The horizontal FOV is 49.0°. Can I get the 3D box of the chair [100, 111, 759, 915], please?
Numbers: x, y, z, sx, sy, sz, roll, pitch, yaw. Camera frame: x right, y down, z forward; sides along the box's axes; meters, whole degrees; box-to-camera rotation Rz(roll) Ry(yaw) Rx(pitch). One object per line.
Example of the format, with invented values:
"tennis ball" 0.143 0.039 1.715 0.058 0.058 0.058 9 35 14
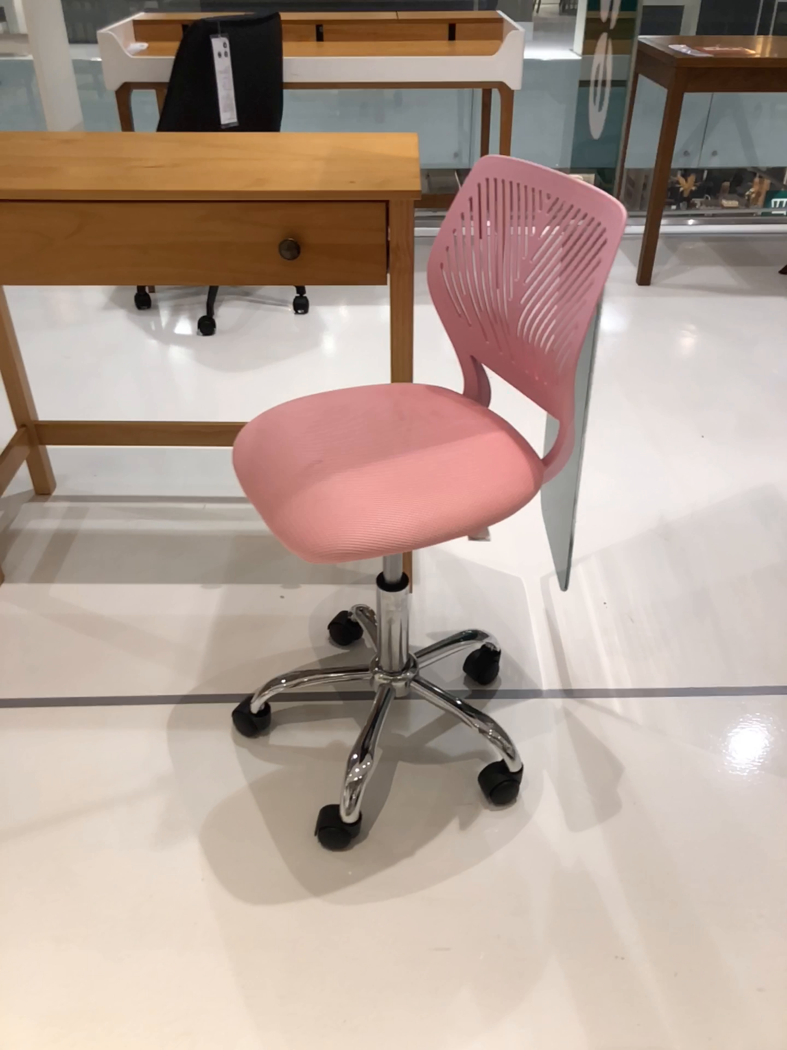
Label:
"chair" 0.020 -0.043 1.171 0.521 0.833 0.503 -21 39 -27
